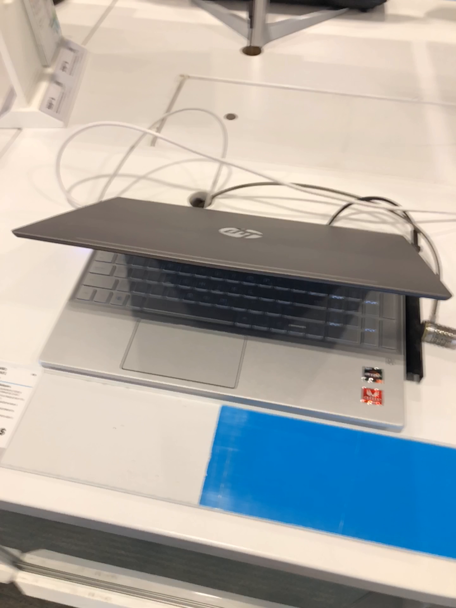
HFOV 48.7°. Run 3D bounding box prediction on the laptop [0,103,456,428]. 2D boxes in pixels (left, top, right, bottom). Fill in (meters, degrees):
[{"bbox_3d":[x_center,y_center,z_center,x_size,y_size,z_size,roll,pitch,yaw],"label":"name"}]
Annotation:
[{"bbox_3d":[0.007,-0.050,0.480,0.350,0.134,0.231,9,54,8],"label":"laptop"}]
